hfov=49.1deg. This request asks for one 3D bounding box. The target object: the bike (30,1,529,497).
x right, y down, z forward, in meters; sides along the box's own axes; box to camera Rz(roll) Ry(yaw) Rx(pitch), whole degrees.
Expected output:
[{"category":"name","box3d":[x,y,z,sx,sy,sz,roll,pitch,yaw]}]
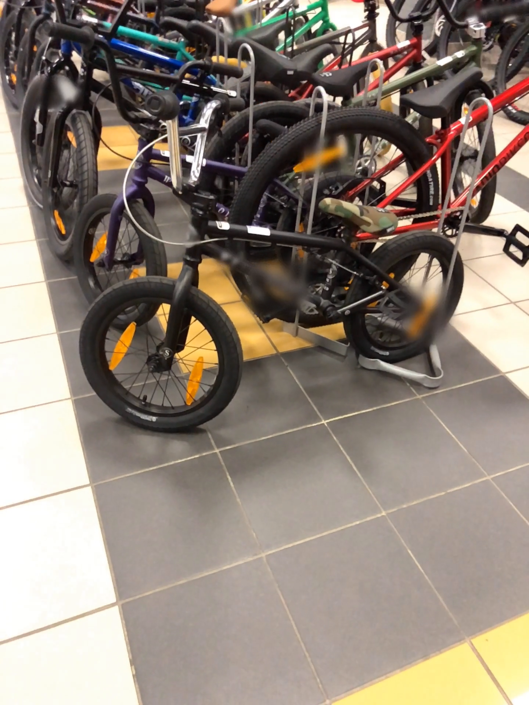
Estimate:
[{"category":"bike","box3d":[0.092,-0.279,1.394,1.072,0.810,0.679,-8,39,-18]}]
